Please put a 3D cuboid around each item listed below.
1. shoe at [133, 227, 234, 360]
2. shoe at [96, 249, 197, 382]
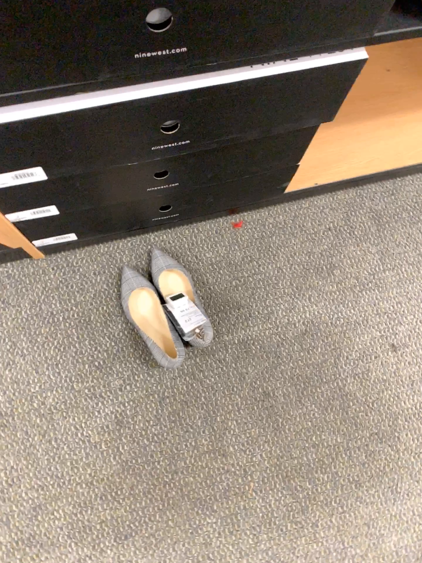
[{"bbox_3d":[-0.060,0.032,0.872,0.090,0.150,0.230,-27,81,-11],"label":"shoe"},{"bbox_3d":[-0.127,0.075,0.864,0.090,0.150,0.230,-27,81,-11],"label":"shoe"}]
